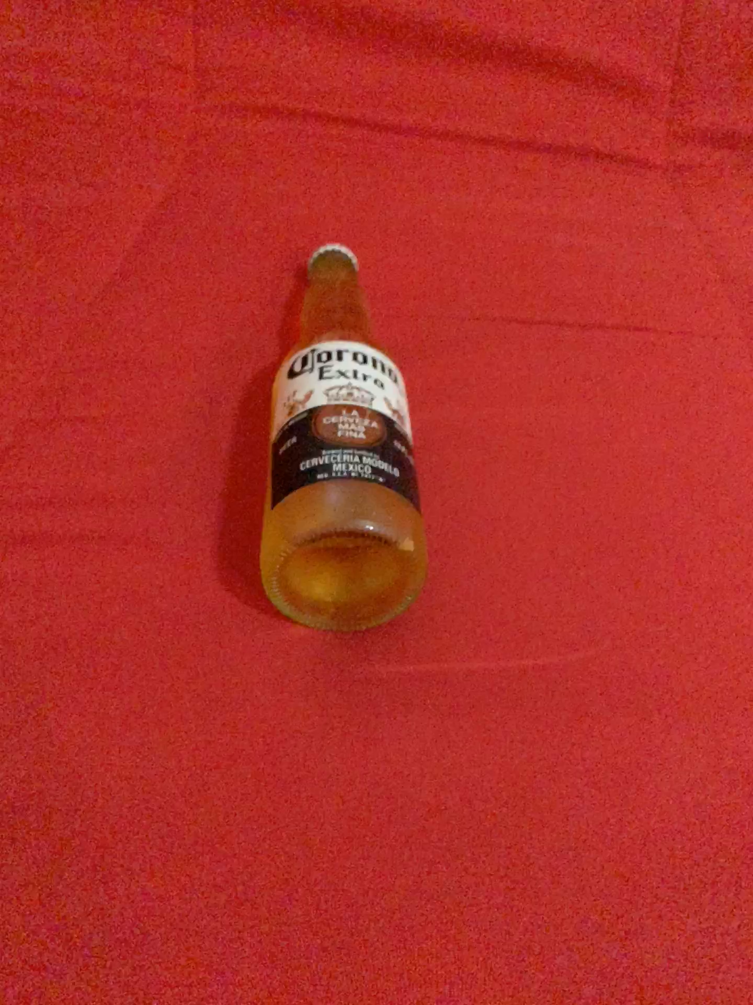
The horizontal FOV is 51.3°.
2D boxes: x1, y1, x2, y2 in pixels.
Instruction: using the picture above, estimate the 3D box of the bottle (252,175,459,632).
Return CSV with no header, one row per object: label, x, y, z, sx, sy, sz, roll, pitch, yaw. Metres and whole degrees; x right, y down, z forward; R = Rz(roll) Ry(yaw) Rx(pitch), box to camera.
bottle,-0.018,-0.064,0.374,0.070,0.070,0.251,1,47,-6
